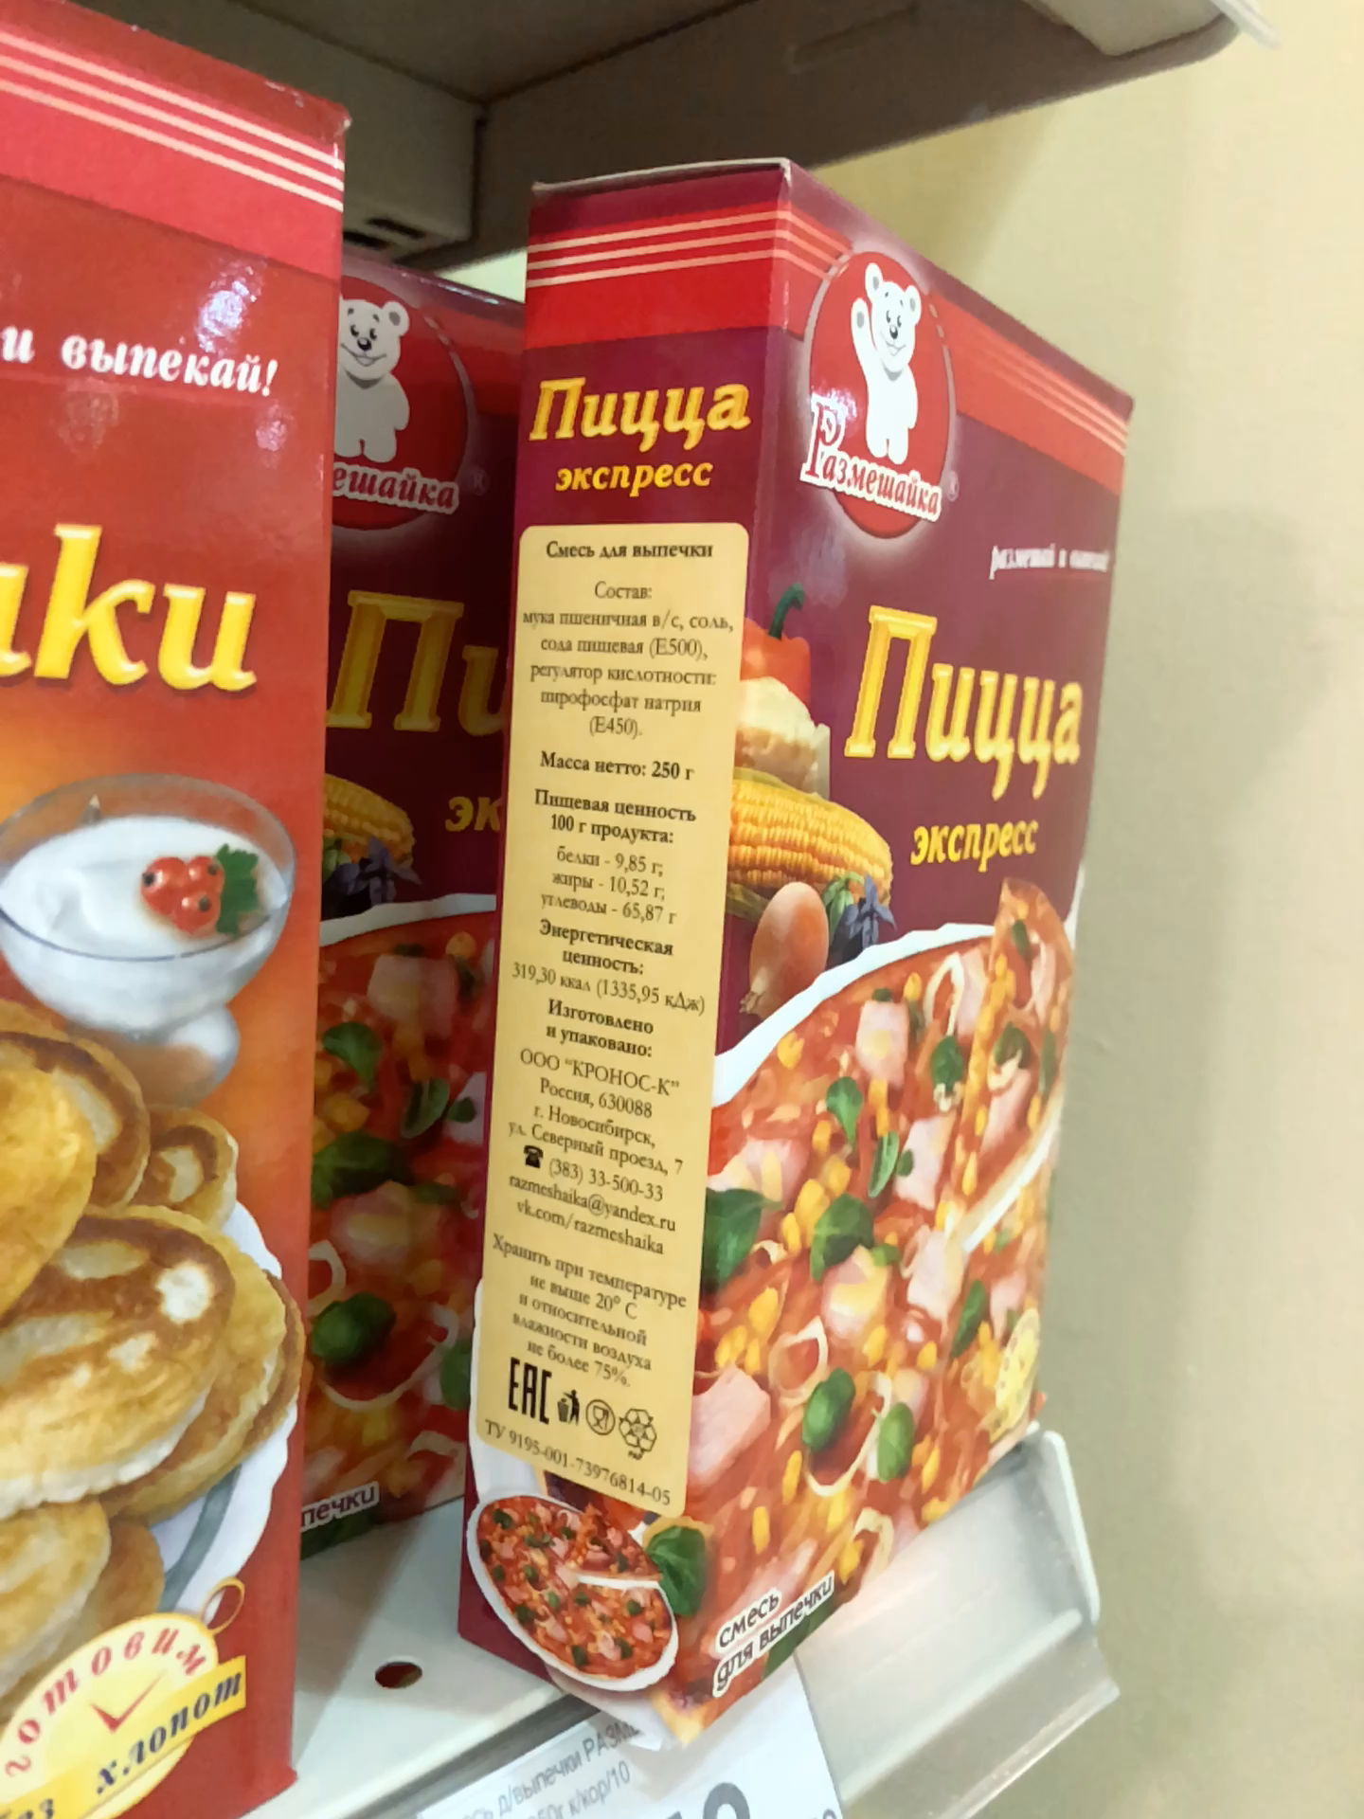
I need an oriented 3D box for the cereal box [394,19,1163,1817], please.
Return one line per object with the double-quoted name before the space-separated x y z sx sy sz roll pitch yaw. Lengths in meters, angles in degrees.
"cereal box" 0.024 0.000 0.229 0.040 0.190 0.140 6 6 33
